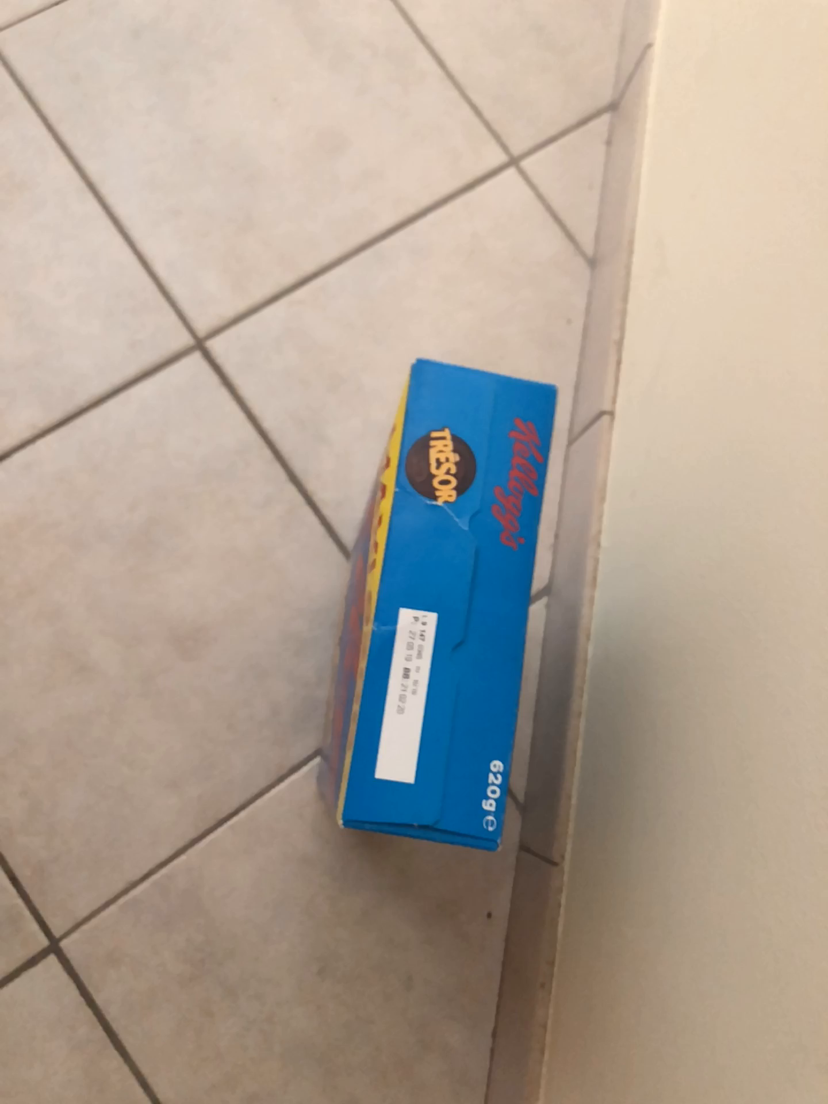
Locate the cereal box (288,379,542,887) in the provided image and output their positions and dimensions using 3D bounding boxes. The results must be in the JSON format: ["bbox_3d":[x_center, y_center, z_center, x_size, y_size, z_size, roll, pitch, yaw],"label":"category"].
[{"bbox_3d":[-0.015,0.056,0.506,0.070,0.300,0.190,11,78,-5],"label":"cereal box"}]
